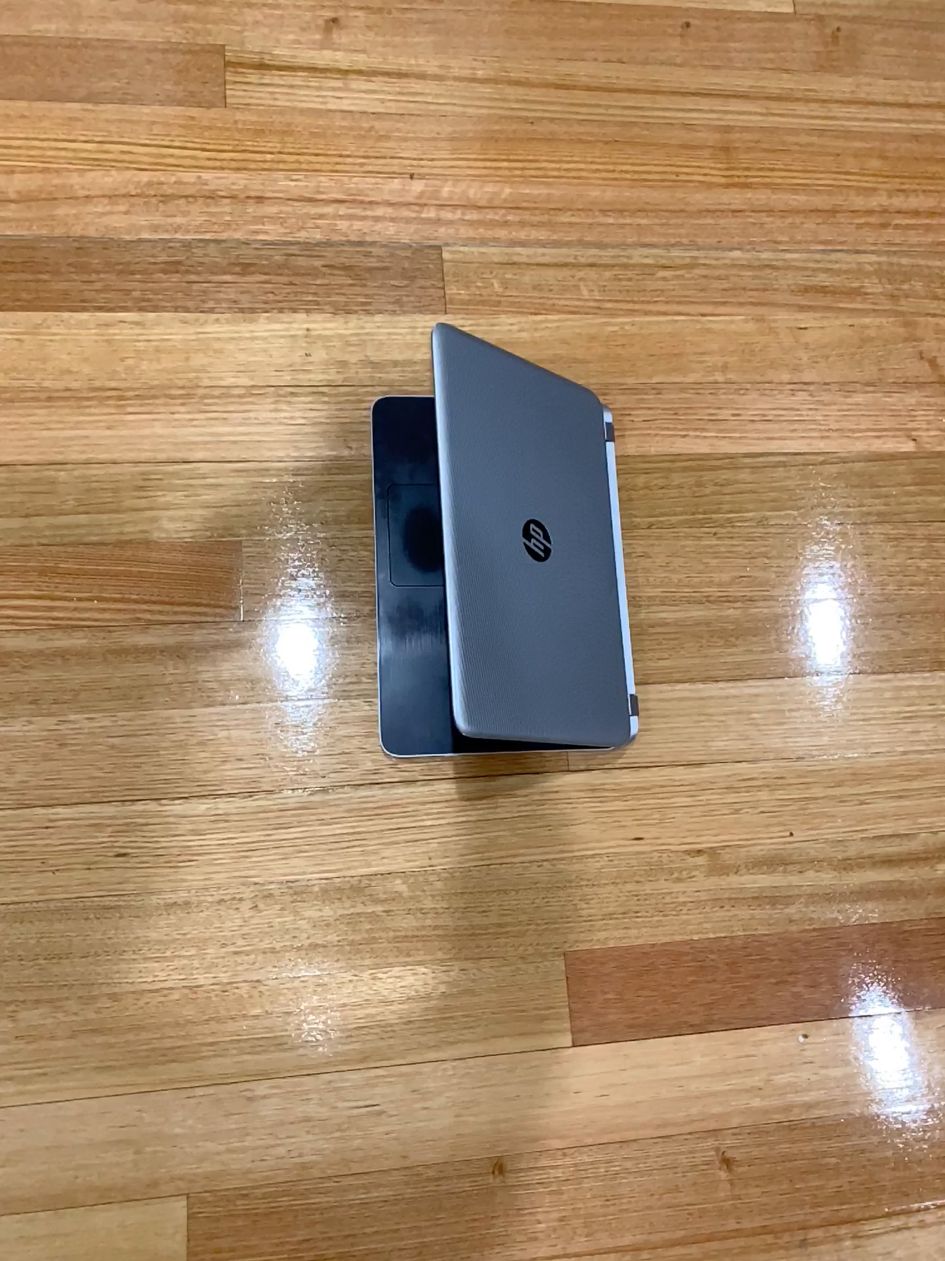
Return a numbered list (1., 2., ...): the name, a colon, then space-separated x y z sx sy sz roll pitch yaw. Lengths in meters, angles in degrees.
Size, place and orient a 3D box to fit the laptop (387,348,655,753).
1. laptop: 0.033 -0.071 0.850 0.209 0.103 0.332 -1 77 -9
